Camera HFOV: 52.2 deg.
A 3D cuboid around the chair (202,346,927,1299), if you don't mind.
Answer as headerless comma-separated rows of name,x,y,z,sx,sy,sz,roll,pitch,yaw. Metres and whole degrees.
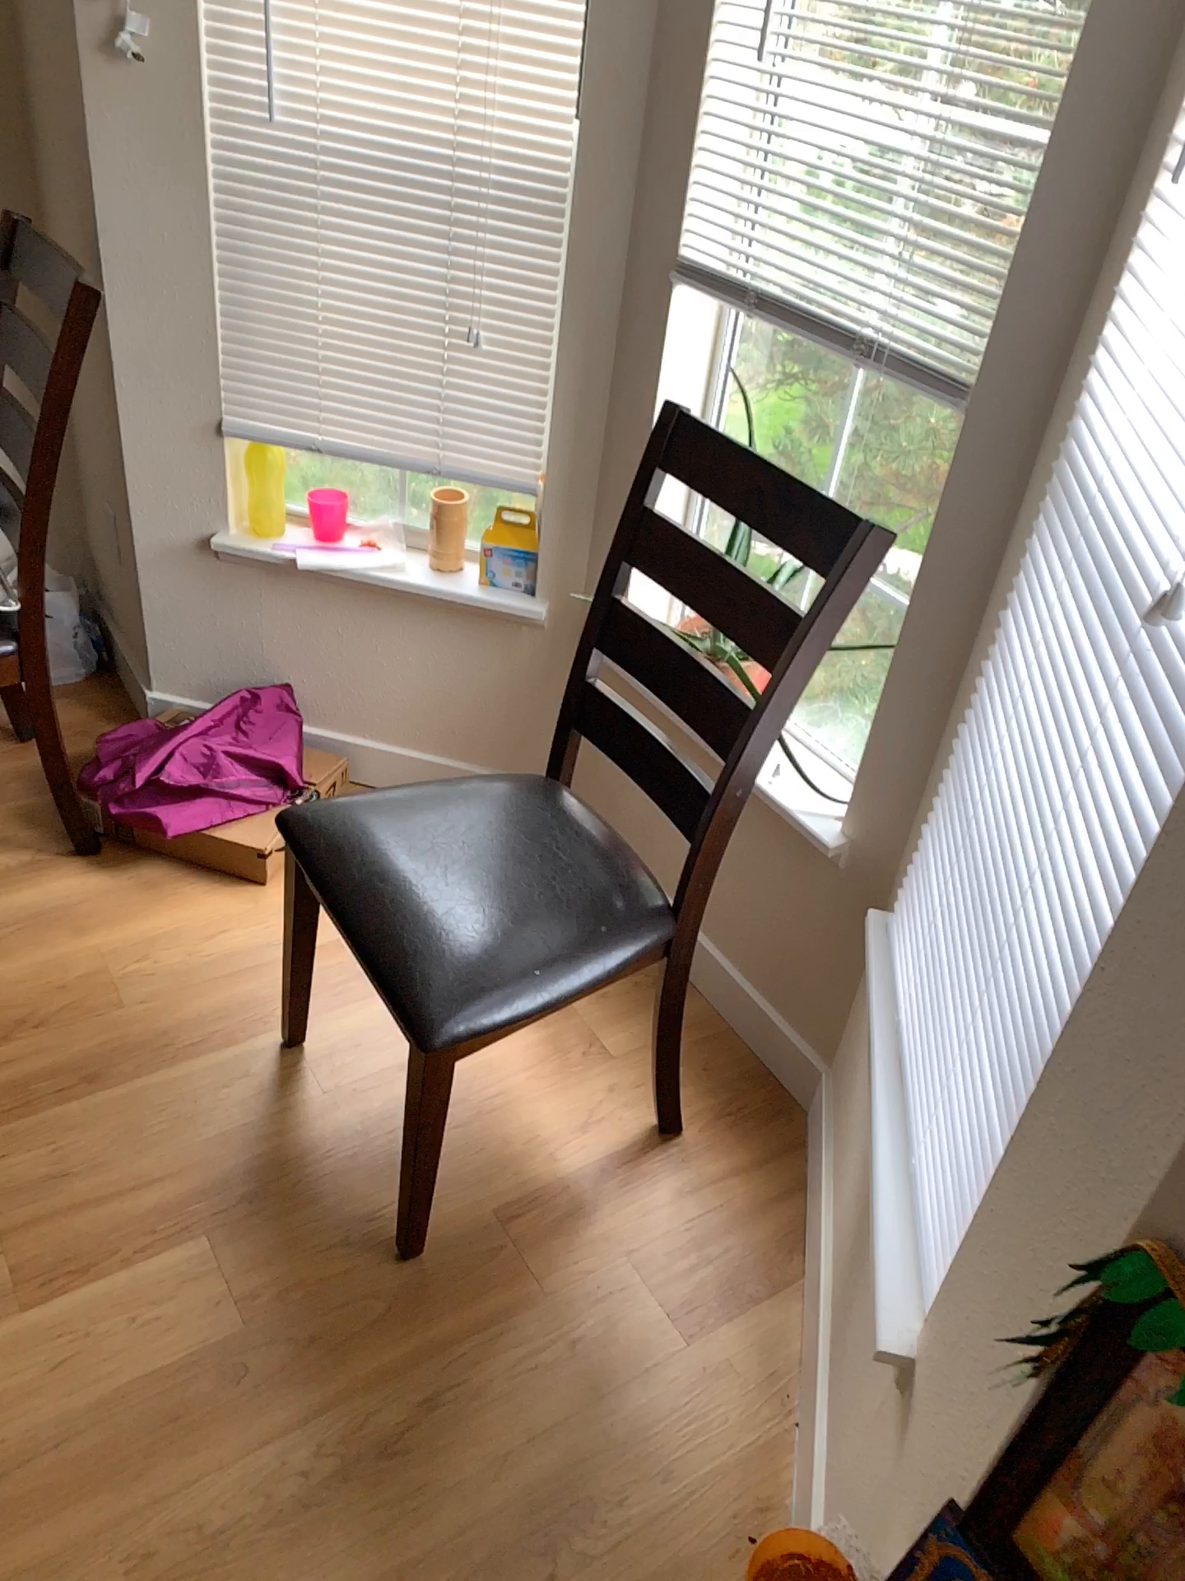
chair,-0.100,0.022,1.522,0.541,0.945,0.562,-15,42,-30
